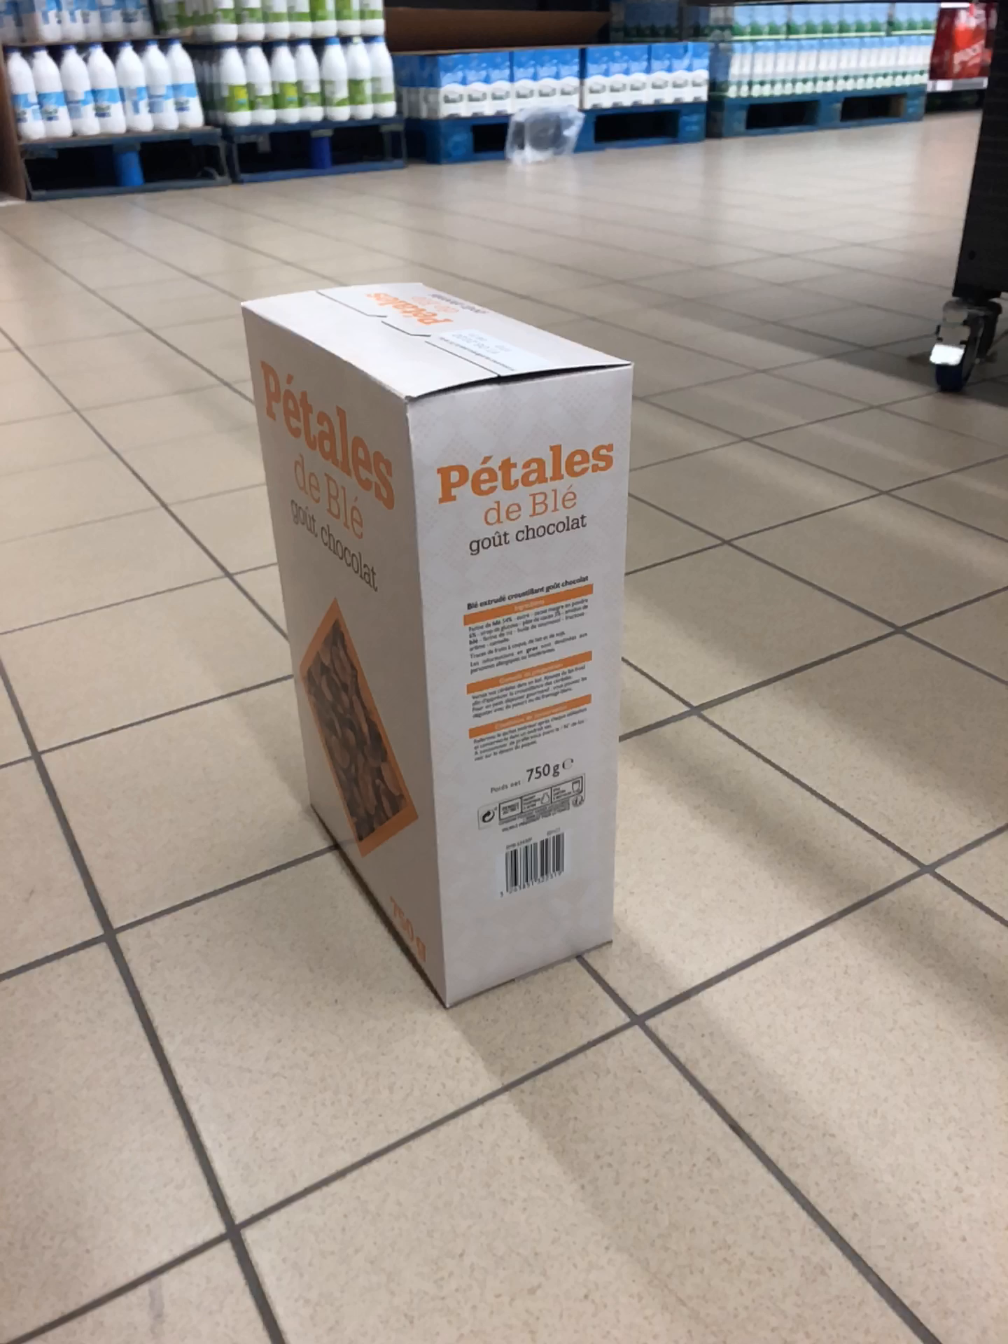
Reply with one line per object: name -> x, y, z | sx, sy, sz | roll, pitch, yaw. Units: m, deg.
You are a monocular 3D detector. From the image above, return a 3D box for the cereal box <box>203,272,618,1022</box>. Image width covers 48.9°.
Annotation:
cereal box -> -0.045, -0.021, 0.527 | 0.100, 0.288, 0.191 | -16, 32, -25
